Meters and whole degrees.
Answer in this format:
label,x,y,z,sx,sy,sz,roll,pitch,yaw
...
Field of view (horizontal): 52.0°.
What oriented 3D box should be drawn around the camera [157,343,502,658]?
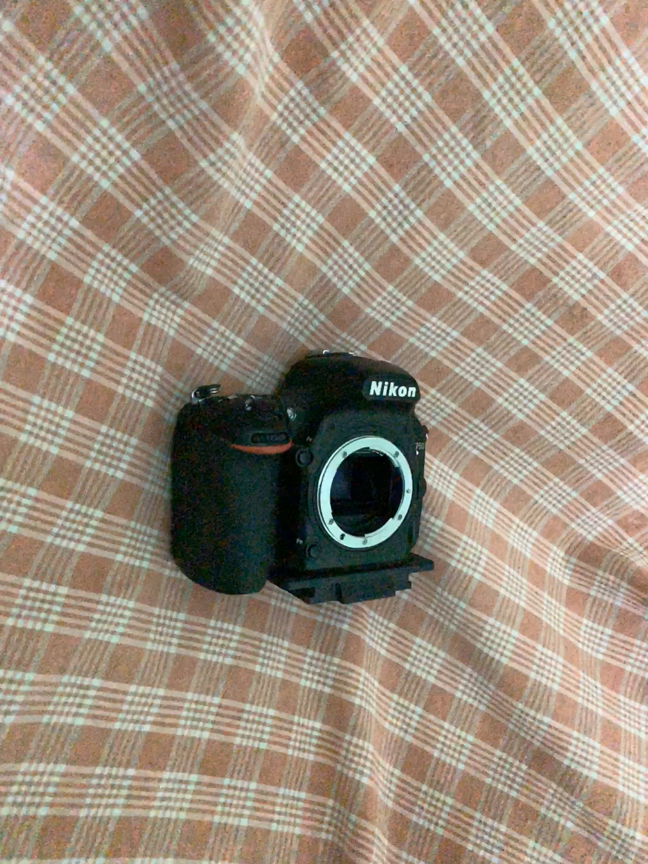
label,x,y,z,sx,sy,sz,roll,pitch,yaw
camera,0.003,0.023,0.336,0.145,0.085,0.125,-1,97,-35
